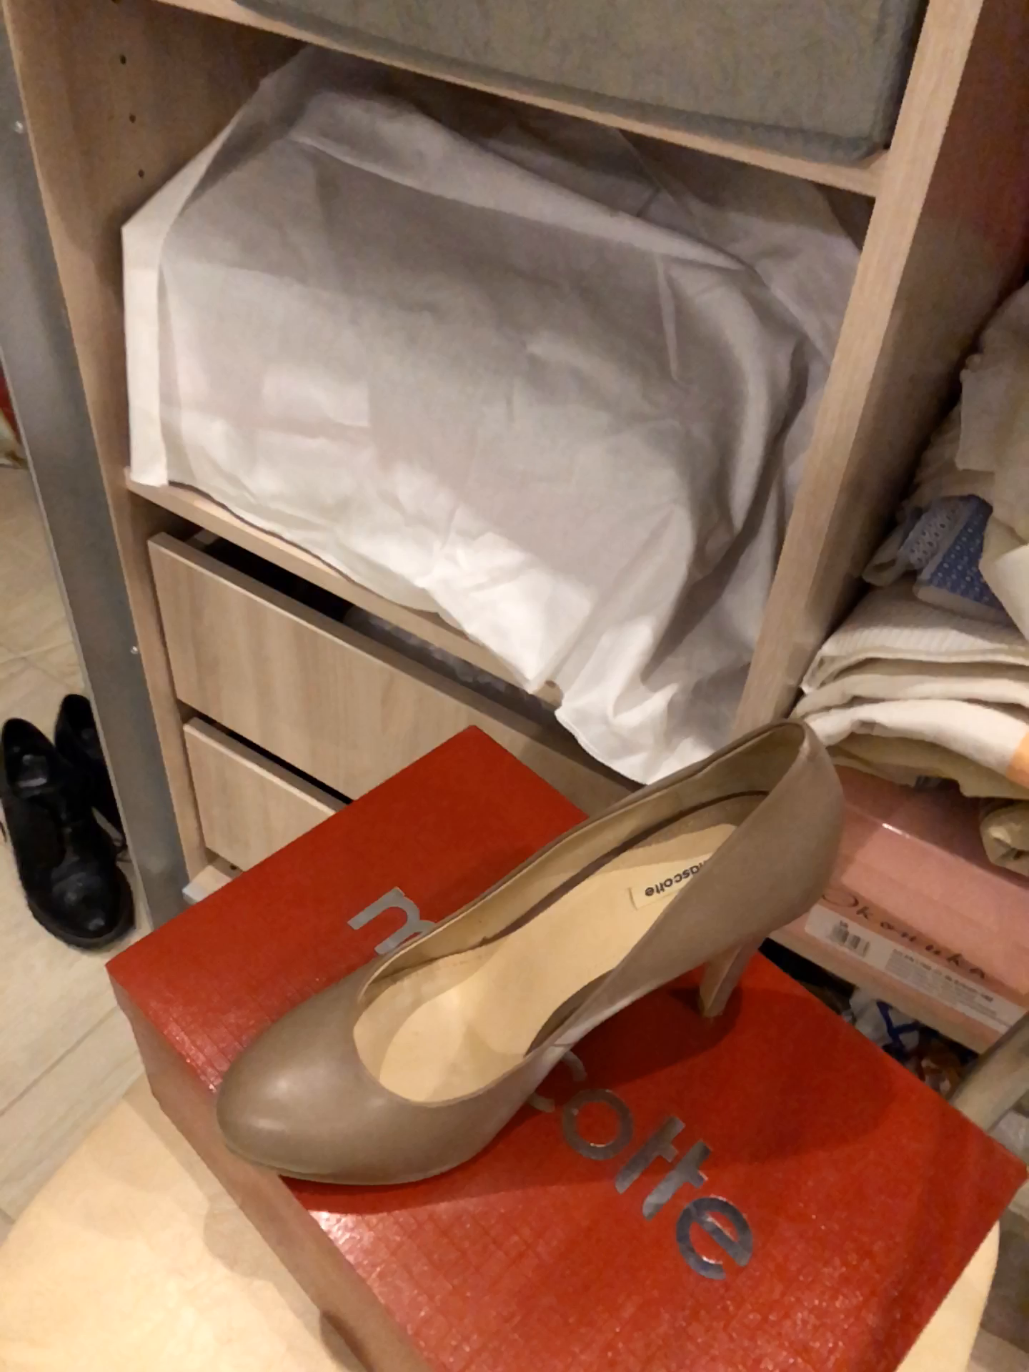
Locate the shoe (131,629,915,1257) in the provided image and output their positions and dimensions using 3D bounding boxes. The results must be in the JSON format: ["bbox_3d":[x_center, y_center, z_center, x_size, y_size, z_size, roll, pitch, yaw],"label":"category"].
[{"bbox_3d":[0.000,0.083,0.379,0.215,0.145,0.084,-13,45,-18],"label":"shoe"}]
